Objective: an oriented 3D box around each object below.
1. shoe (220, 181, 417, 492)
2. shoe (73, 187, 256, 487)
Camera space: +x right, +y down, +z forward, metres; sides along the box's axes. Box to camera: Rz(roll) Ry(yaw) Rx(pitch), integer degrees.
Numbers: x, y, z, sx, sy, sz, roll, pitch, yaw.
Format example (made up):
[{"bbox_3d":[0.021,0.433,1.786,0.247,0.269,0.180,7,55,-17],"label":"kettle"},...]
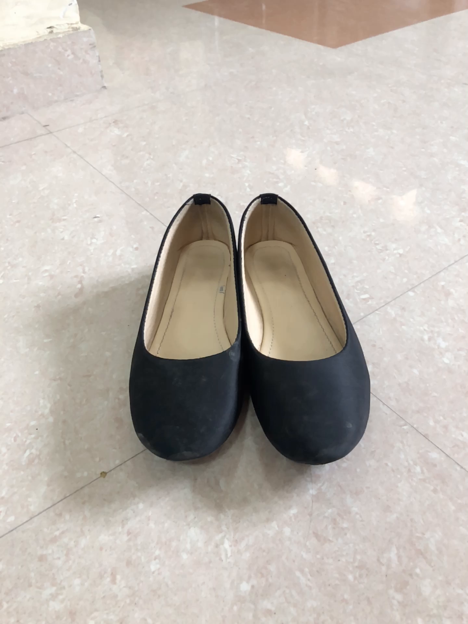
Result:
[{"bbox_3d":[0.043,-0.002,0.381,0.092,0.075,0.240,-5,42,0],"label":"shoe"},{"bbox_3d":[-0.033,0.001,0.388,0.092,0.075,0.240,-1,42,4],"label":"shoe"}]
